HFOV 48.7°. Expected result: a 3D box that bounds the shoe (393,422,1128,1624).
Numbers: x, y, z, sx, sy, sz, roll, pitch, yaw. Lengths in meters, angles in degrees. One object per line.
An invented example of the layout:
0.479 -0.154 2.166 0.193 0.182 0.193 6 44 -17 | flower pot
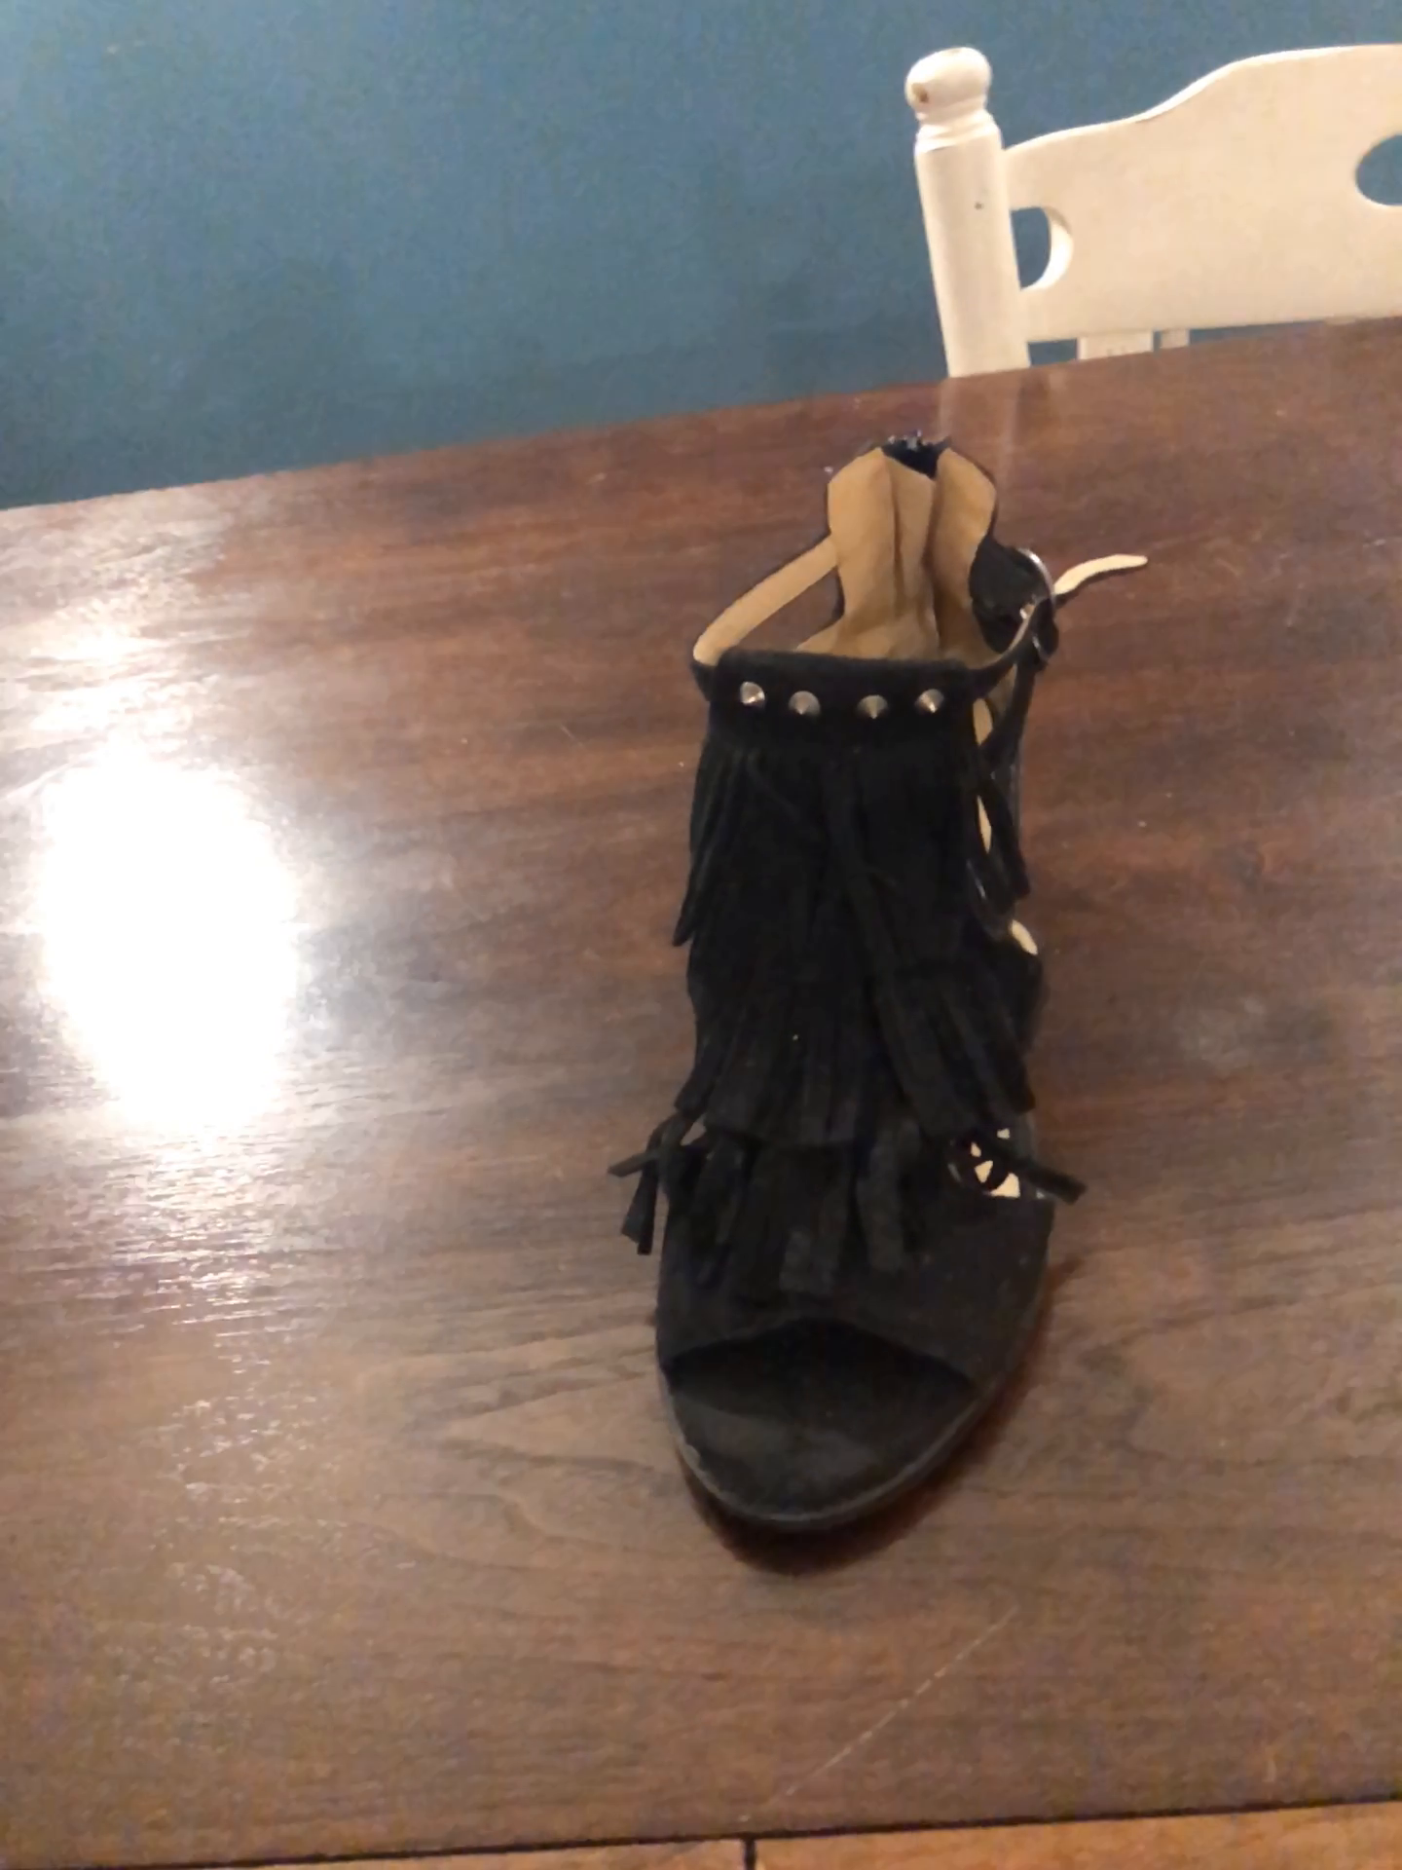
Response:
0.039 0.002 0.368 0.100 0.149 0.241 4 42 16 | shoe
